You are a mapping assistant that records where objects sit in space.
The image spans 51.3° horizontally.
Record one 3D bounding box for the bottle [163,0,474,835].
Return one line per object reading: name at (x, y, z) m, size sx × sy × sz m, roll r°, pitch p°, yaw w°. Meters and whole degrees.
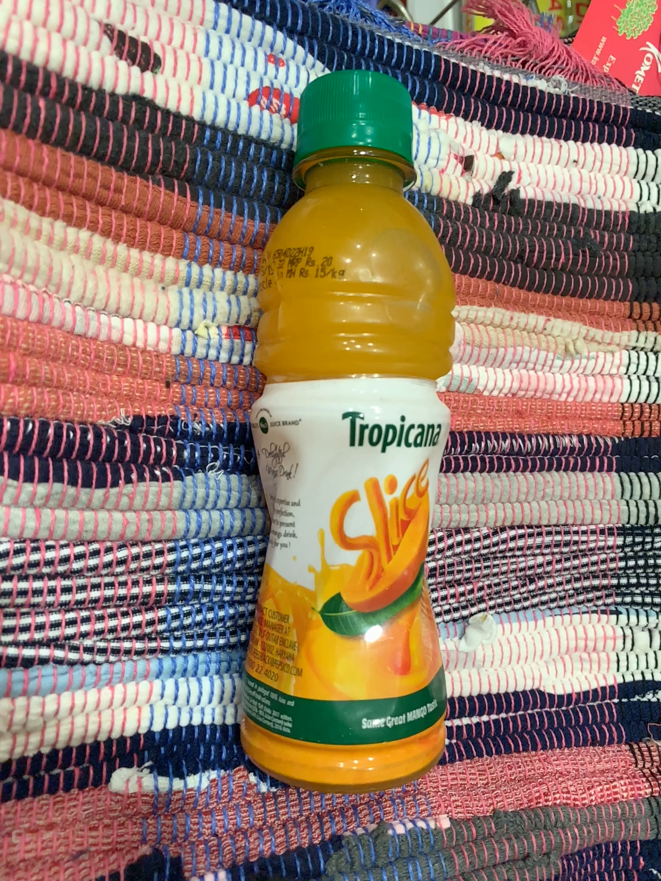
bottle at (-0.004, -0.016, 0.176) m, size 0.060 × 0.050 × 0.190 m, roll 2°, pitch 86°, yaw -30°
